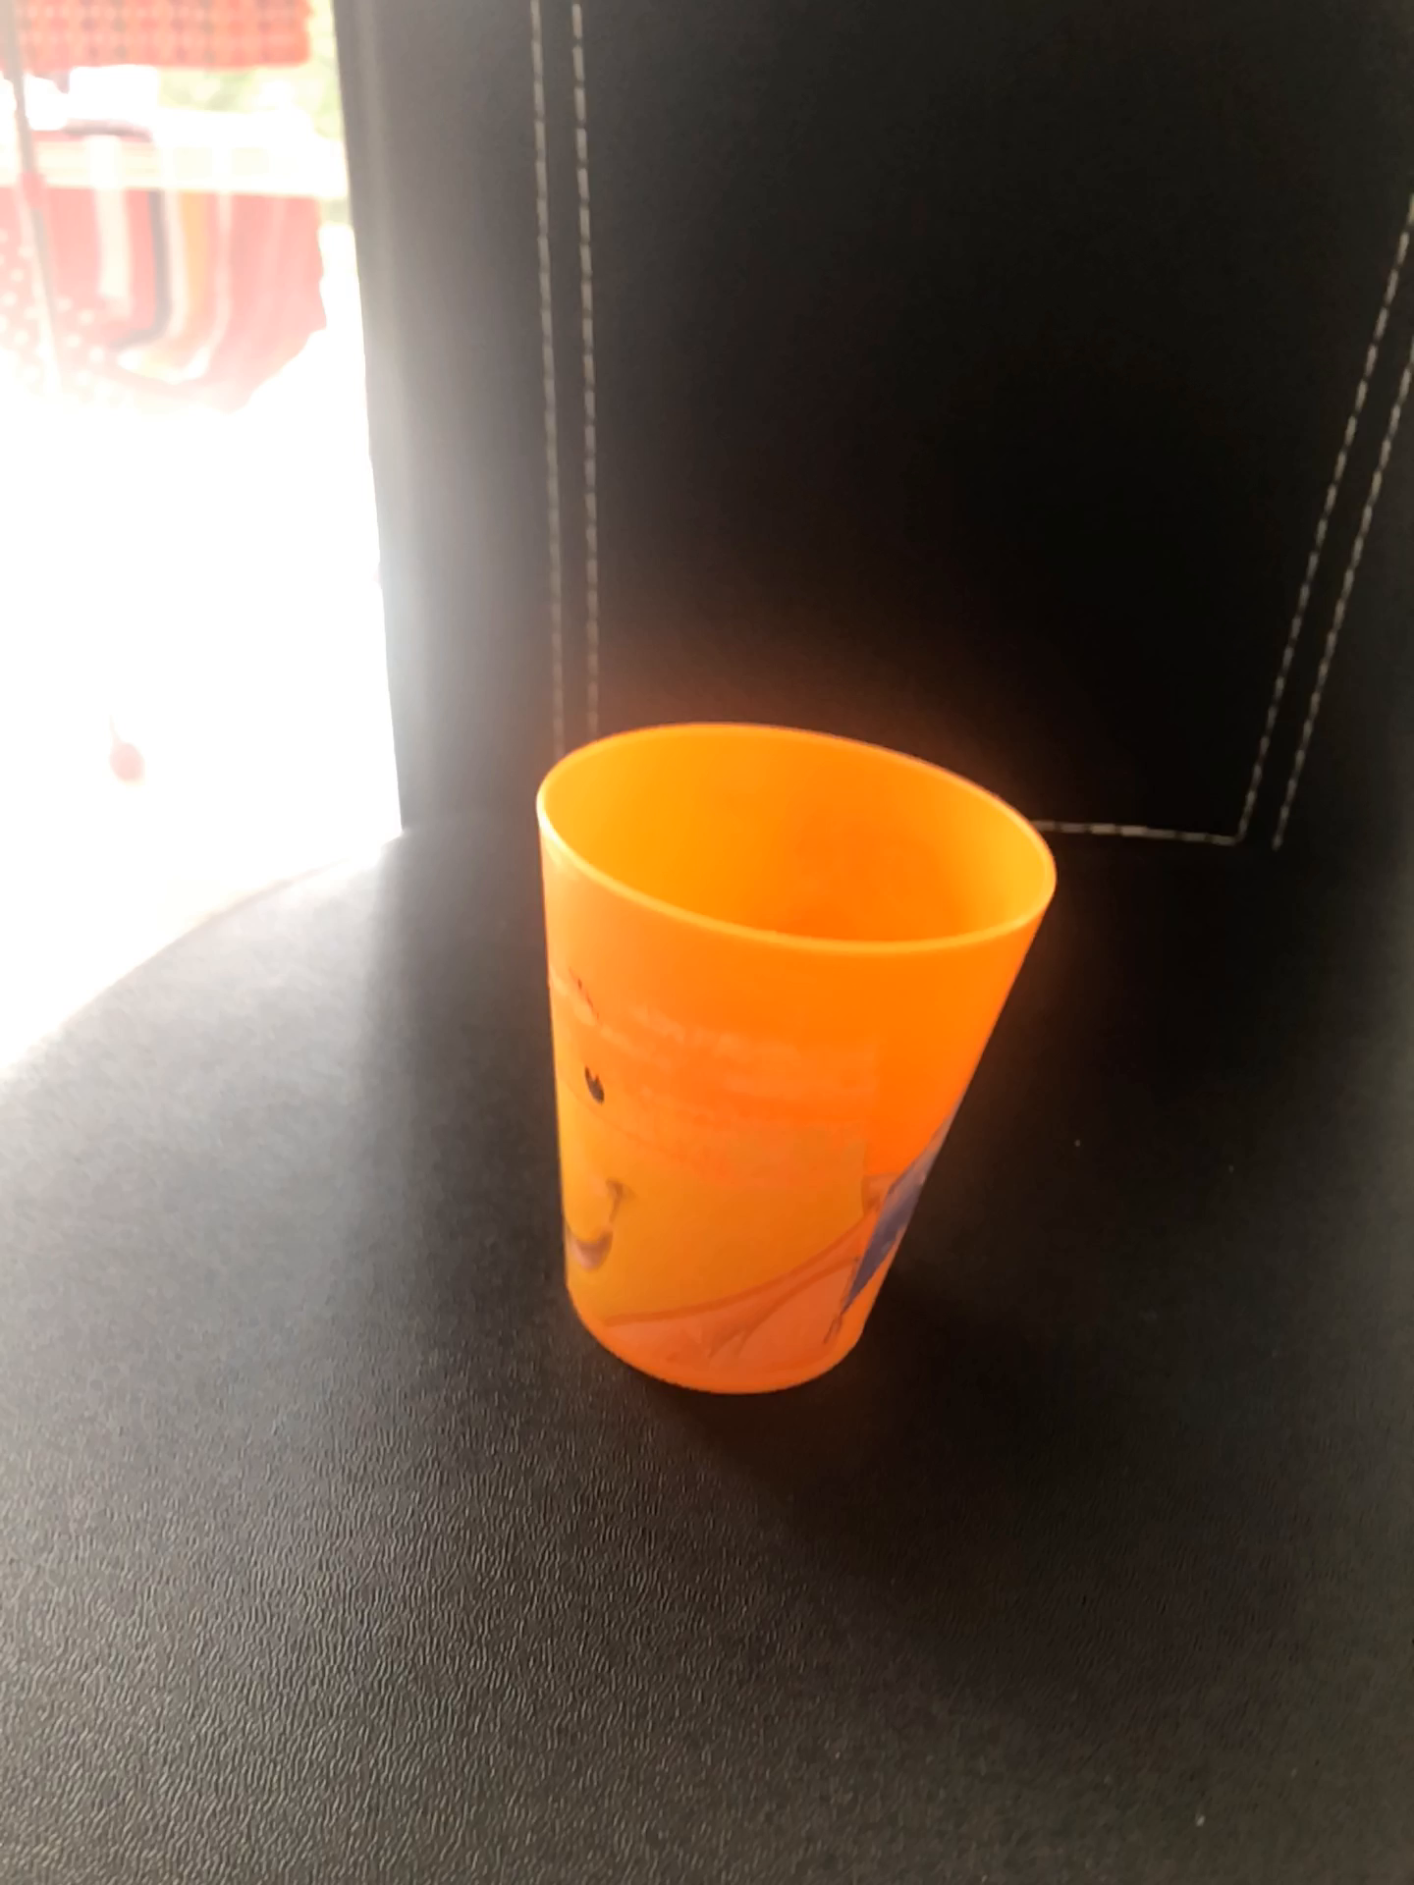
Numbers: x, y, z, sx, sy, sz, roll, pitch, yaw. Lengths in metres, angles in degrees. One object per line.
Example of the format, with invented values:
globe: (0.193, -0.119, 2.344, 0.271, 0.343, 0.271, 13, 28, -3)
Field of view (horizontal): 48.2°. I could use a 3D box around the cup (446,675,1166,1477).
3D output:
cup: (0.009, 0.015, 0.263, 0.080, 0.089, 0.080, 4, 29, -2)
